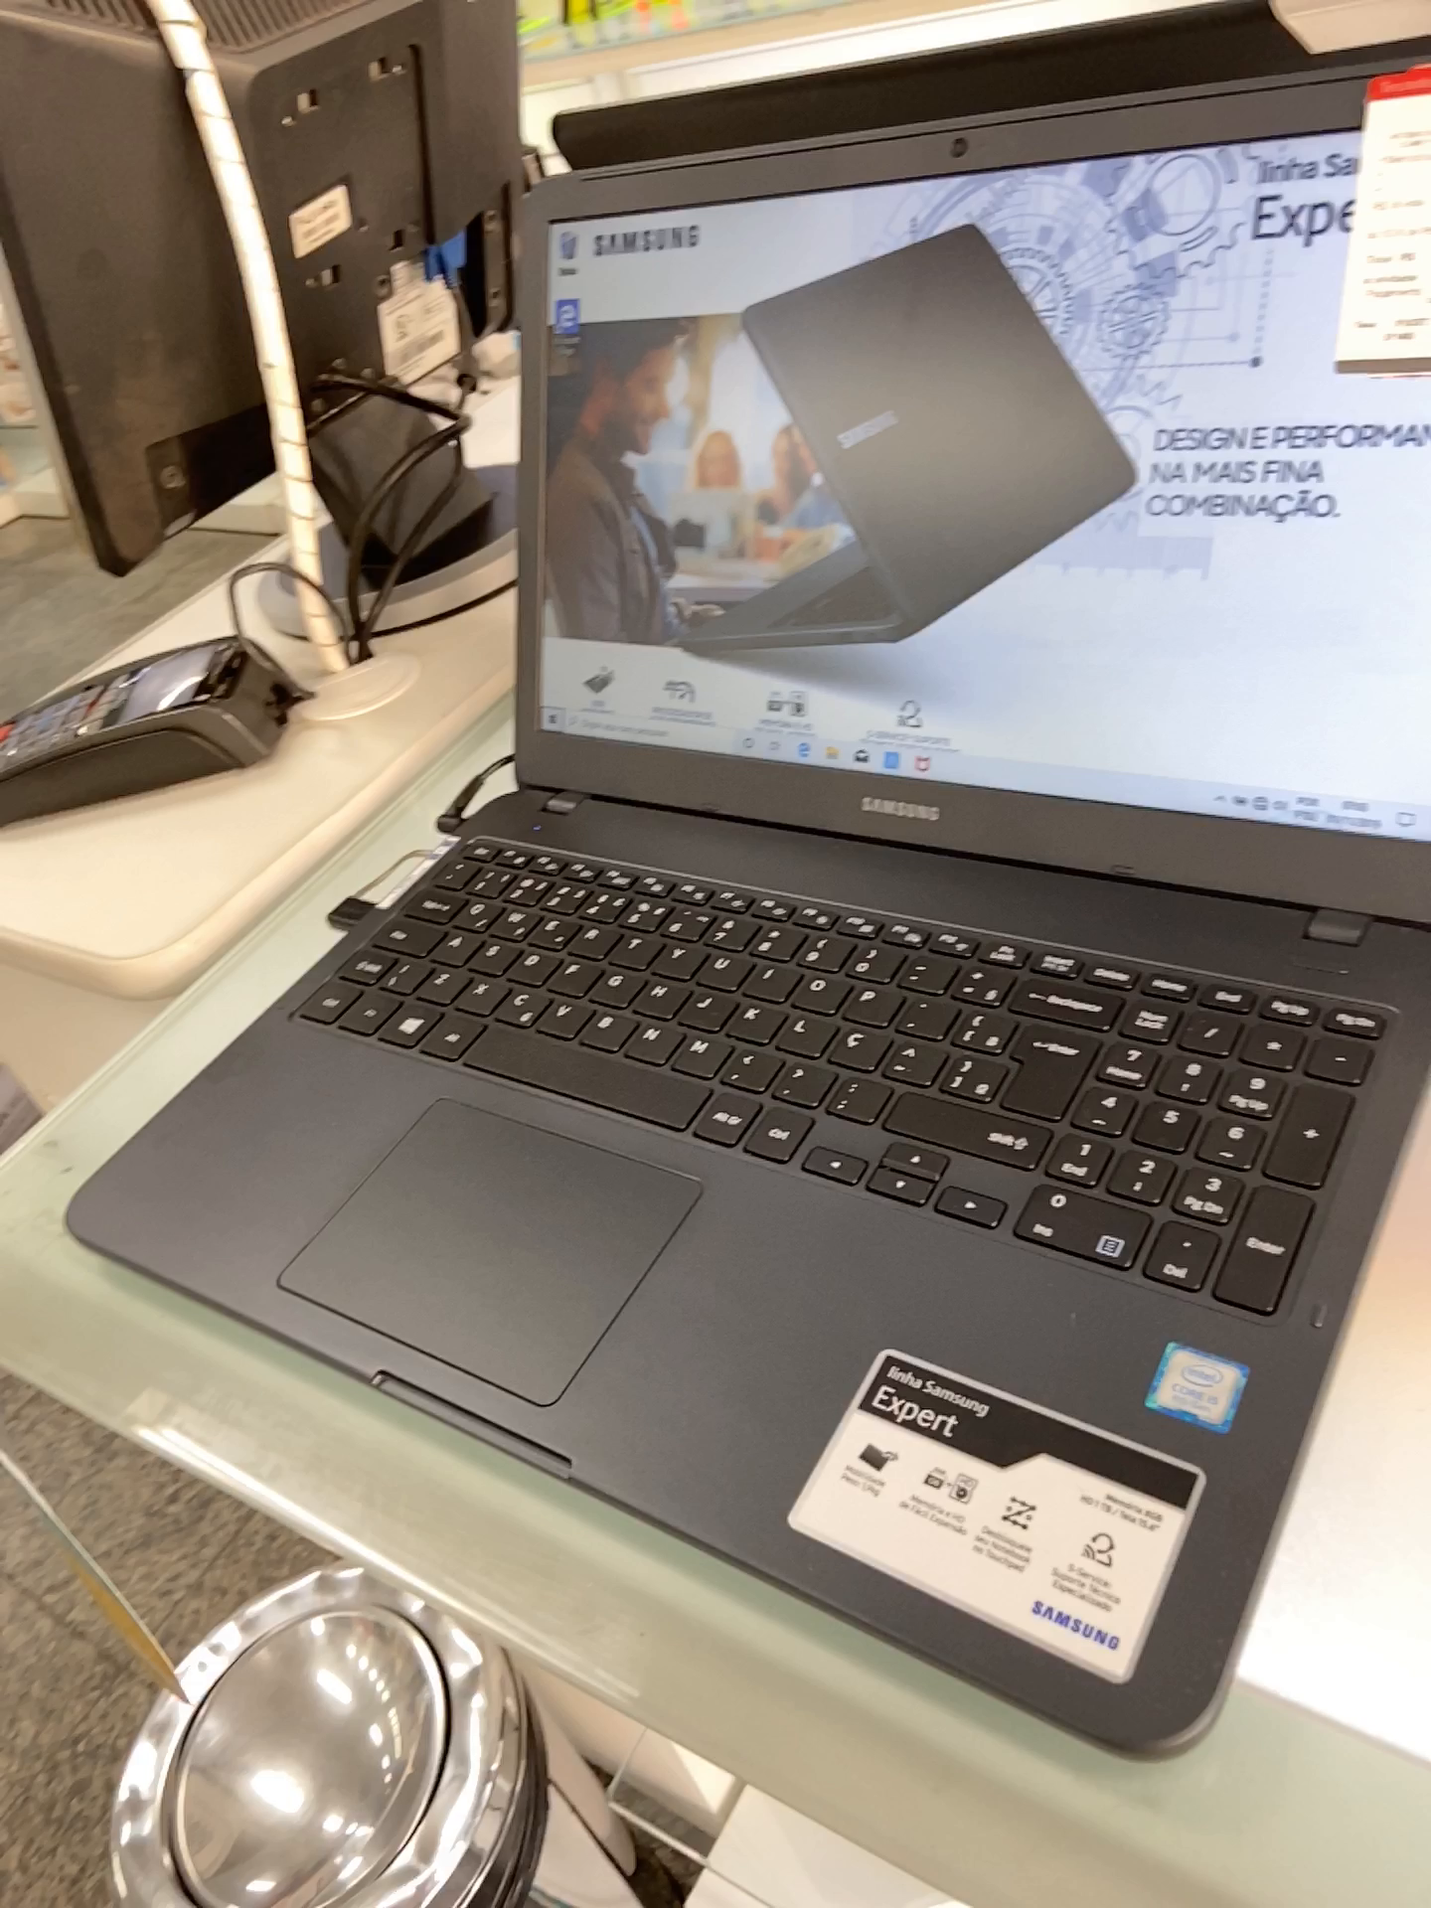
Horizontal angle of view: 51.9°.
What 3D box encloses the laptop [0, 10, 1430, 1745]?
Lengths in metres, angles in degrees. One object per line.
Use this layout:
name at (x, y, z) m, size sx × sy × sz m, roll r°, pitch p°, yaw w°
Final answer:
laptop at (0.007, -0.074, 0.431) m, size 0.371 × 0.200 × 0.370 m, roll 11°, pitch 47°, yaw 34°
